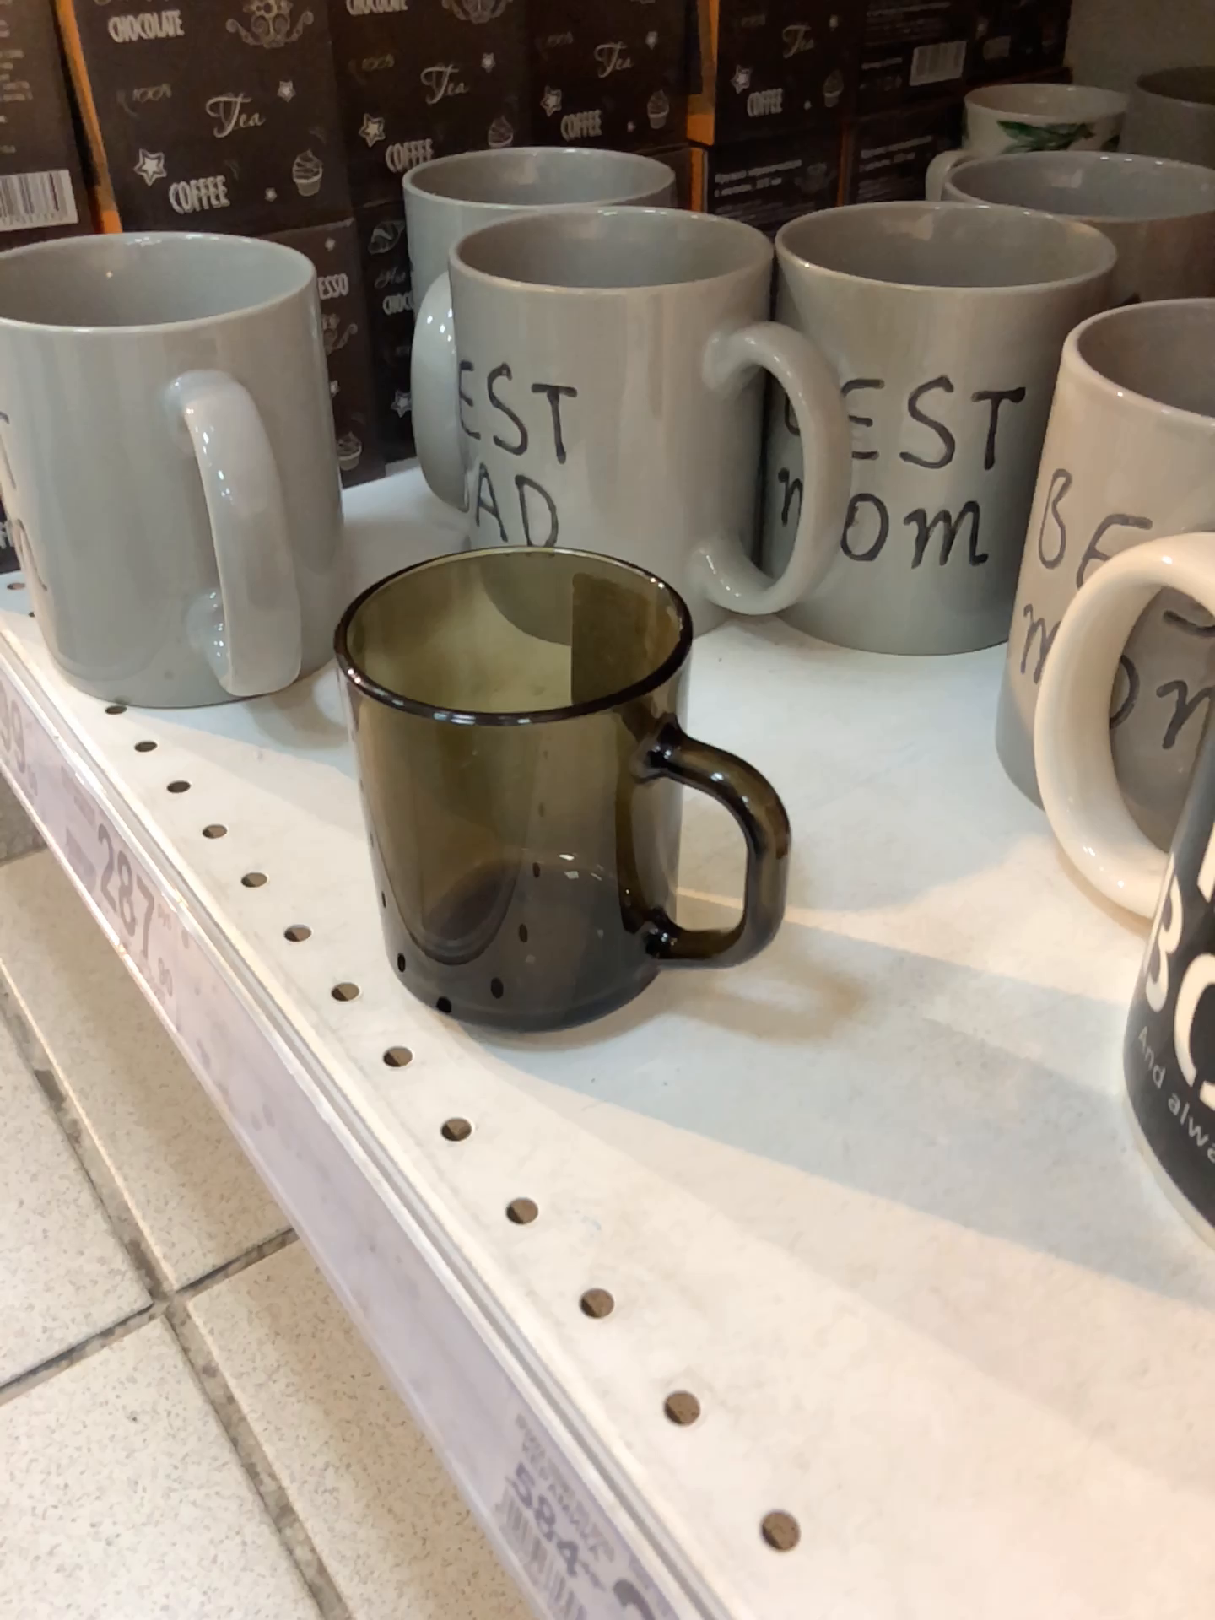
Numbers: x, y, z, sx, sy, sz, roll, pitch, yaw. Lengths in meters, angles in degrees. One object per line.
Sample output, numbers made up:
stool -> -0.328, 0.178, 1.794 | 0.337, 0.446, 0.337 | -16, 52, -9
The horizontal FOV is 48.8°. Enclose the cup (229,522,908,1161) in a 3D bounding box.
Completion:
cup -> -0.006, 0.000, 0.283 | 0.105, 0.074, 0.082 | 19, 40, 24
